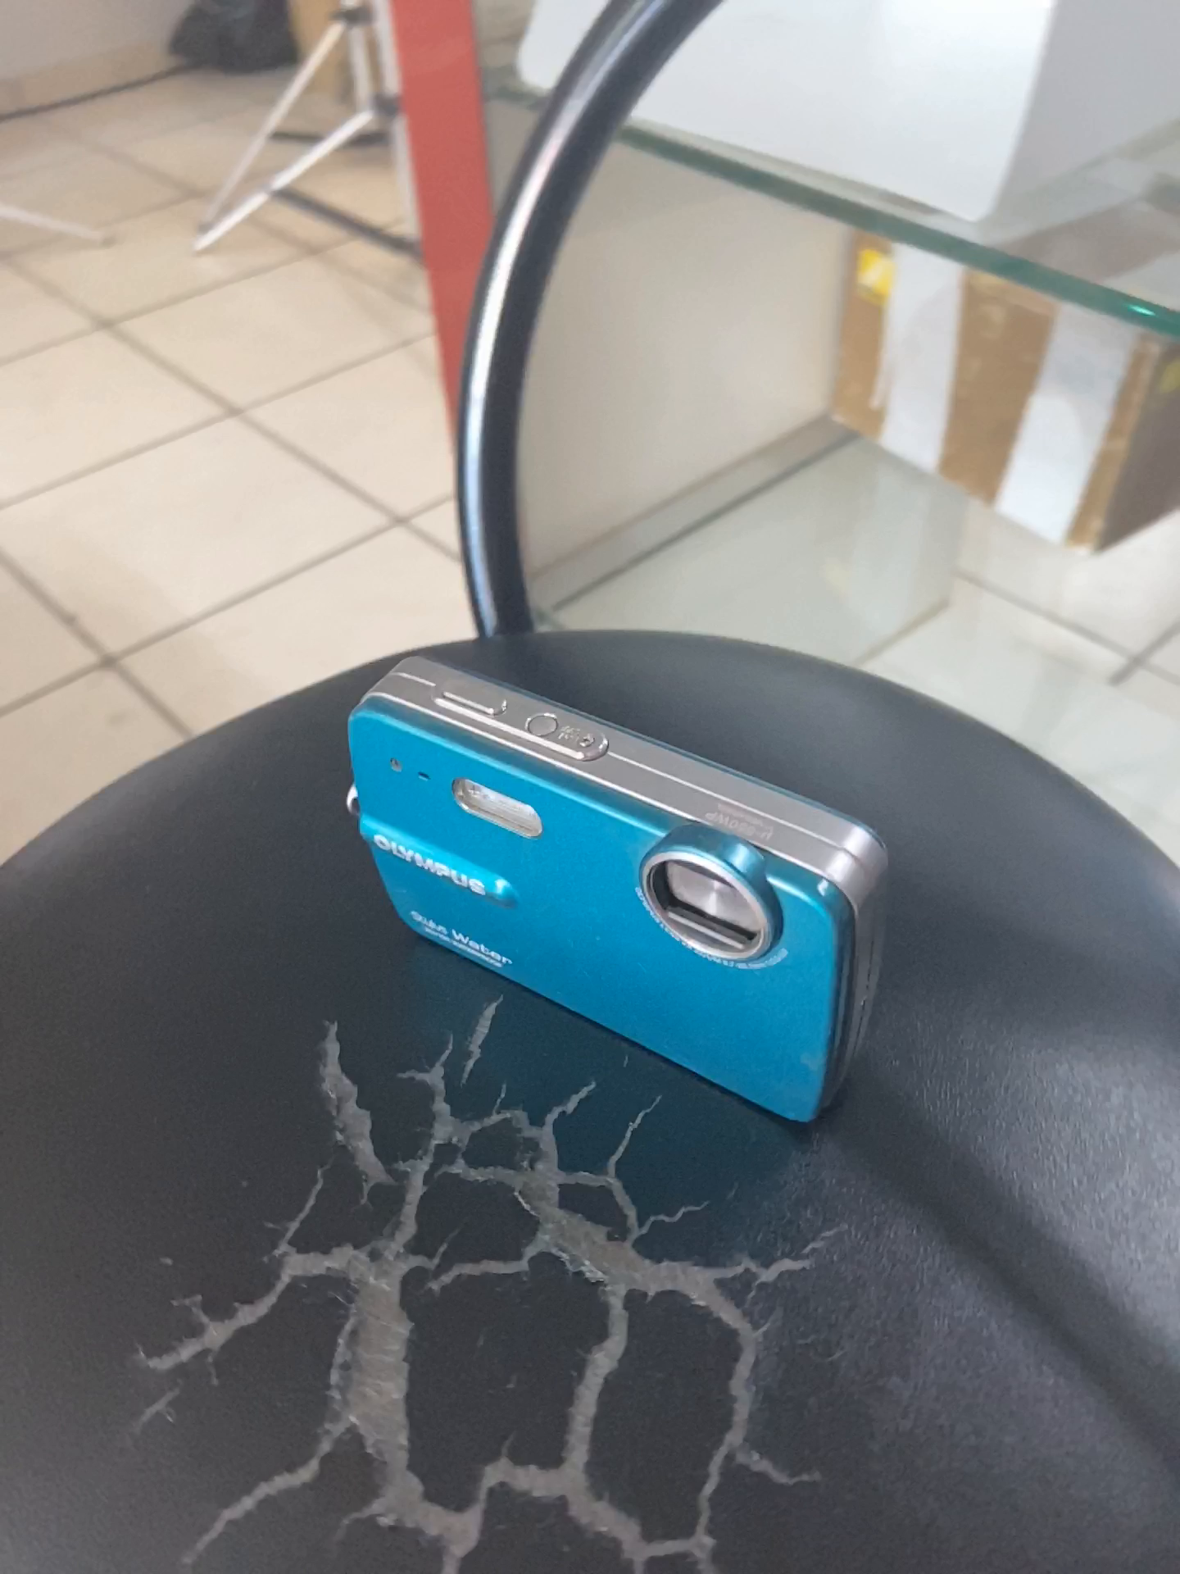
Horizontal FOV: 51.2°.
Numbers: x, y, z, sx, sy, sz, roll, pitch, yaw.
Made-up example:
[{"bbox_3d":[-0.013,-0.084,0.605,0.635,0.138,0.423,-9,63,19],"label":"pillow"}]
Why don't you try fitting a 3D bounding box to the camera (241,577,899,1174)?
[{"bbox_3d":[-0.005,0.014,0.213,0.100,0.070,0.030,22,50,23],"label":"camera"}]
